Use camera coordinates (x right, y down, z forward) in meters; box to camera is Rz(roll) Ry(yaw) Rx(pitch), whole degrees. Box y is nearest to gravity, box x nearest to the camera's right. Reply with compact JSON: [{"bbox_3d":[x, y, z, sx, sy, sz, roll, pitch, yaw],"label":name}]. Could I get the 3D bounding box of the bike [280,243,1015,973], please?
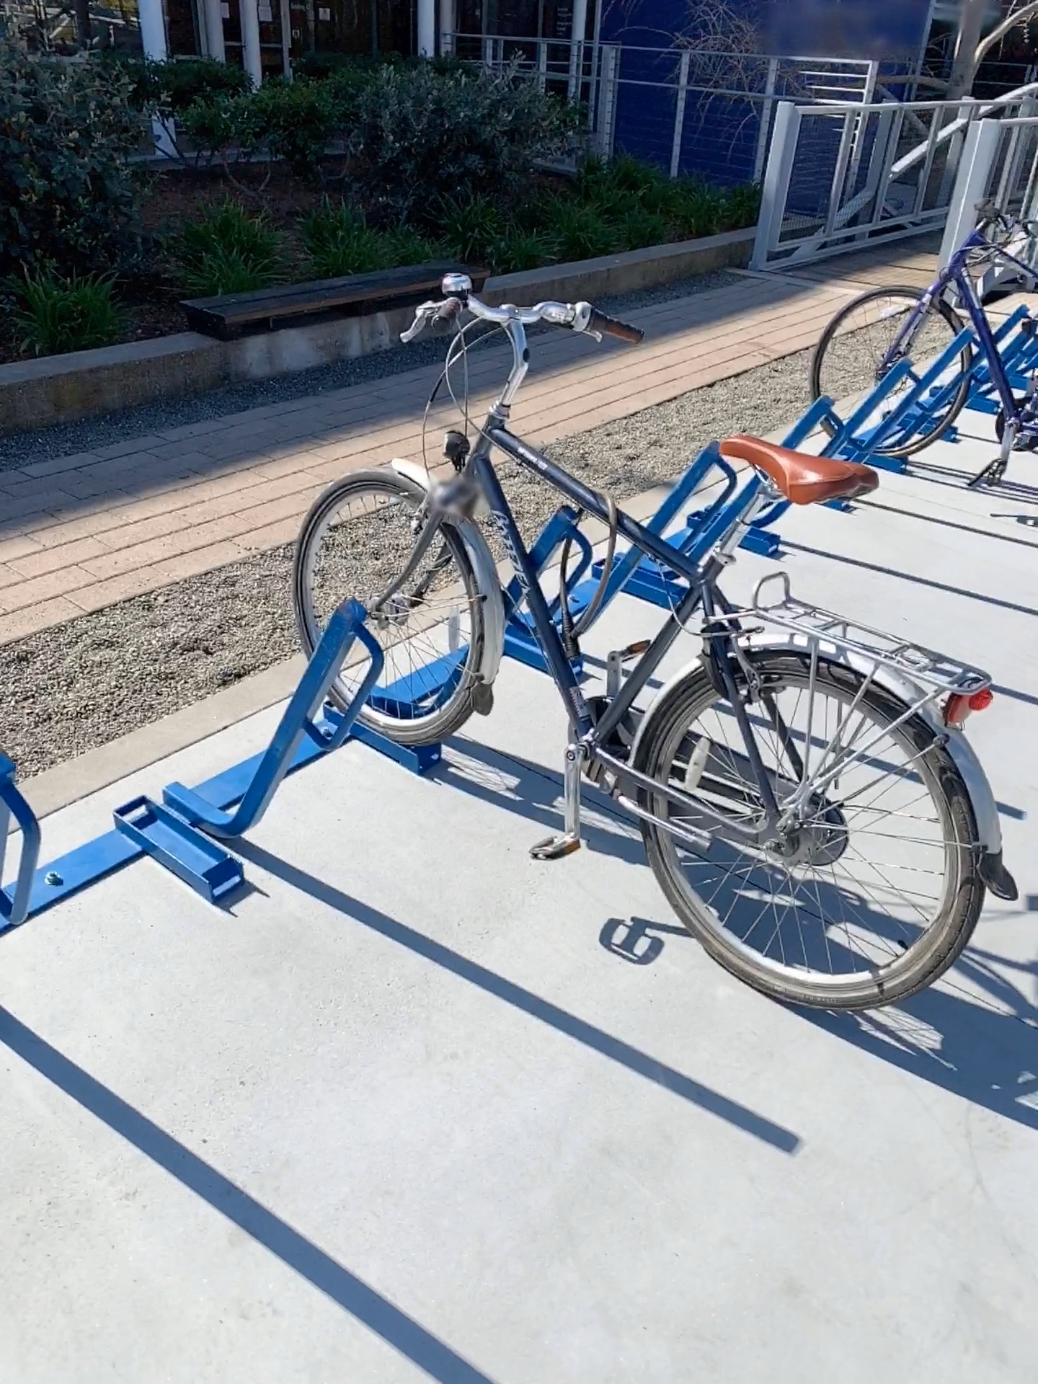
[{"bbox_3d":[0.152,-0.238,1.990,1.064,0.915,0.592,29,40,34],"label":"bike"}]
